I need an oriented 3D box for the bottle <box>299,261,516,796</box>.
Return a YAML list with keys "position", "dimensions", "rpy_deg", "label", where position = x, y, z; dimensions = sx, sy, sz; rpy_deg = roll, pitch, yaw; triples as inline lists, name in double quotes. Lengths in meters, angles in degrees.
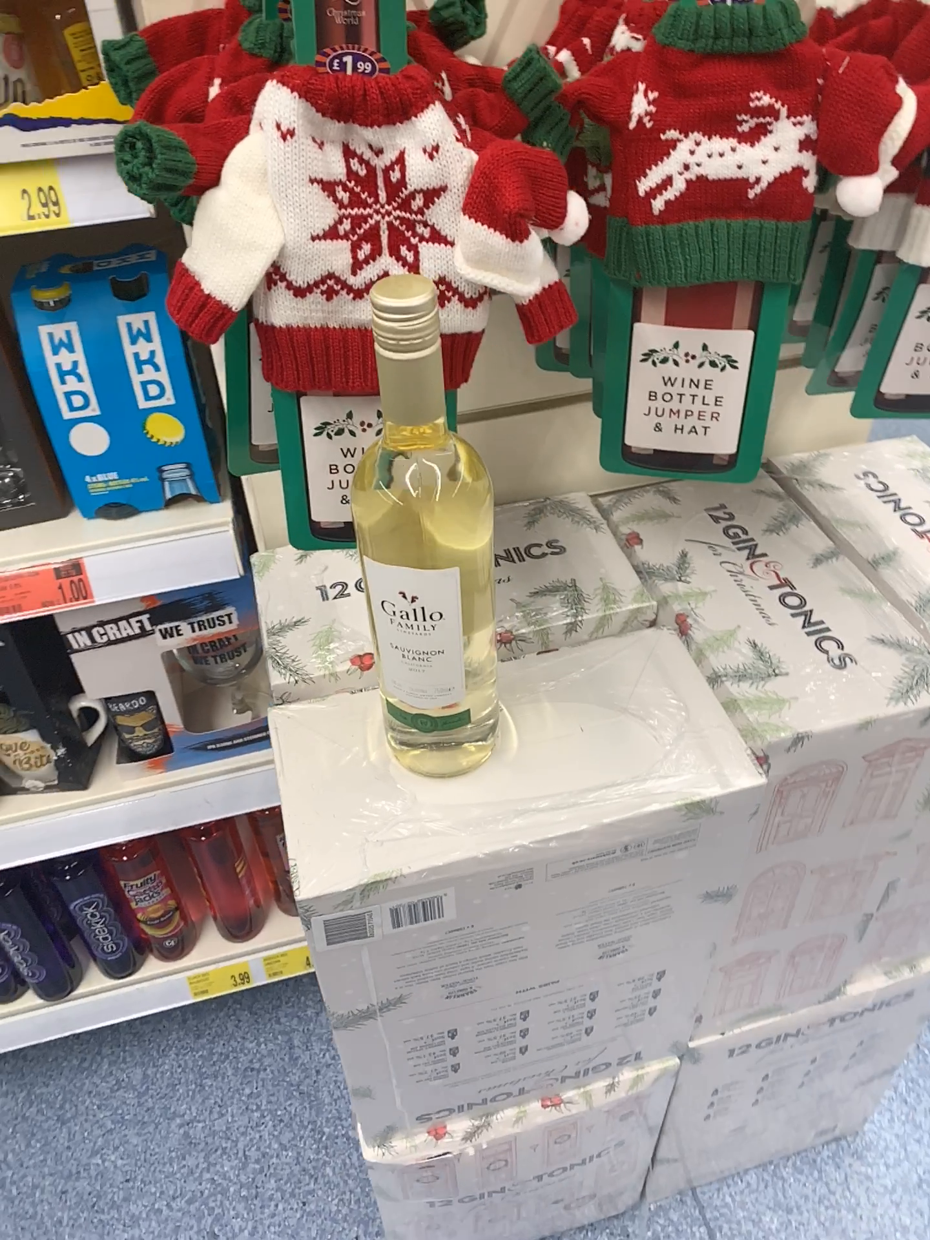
- position: [-0.018, -0.033, 0.507]
  dimensions: [0.072, 0.285, 0.074]
  rpy_deg: [-2, 41, 2]
  label: "bottle"
